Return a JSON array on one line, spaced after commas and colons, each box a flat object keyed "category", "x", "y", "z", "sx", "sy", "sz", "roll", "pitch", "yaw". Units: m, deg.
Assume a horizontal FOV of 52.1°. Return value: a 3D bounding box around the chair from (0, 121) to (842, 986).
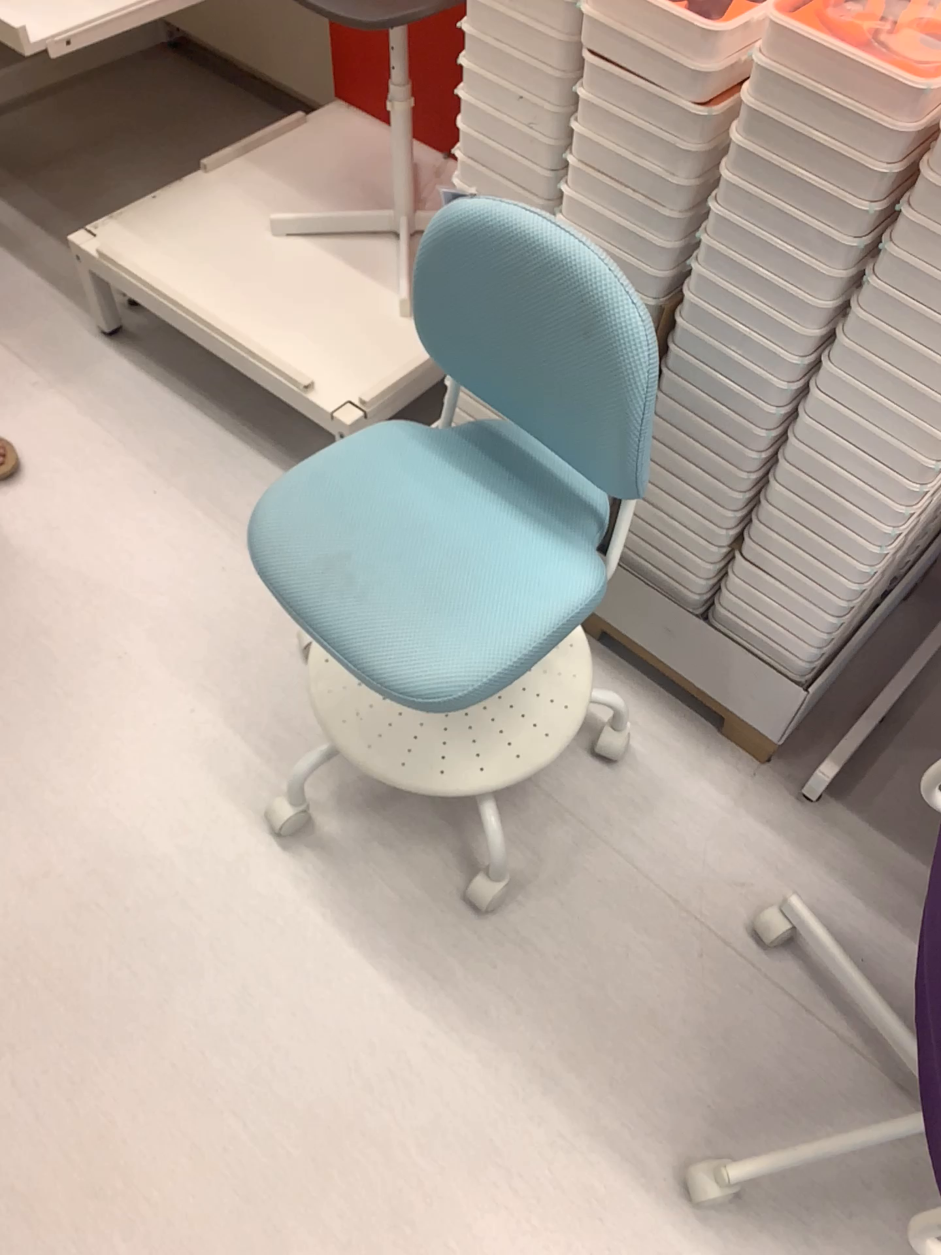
[{"category": "chair", "x": -0.051, "y": -0.068, "z": 1.252, "sx": 0.571, "sy": 0.748, "sz": 0.611, "roll": 37, "pitch": 61, "yaw": 22}]
